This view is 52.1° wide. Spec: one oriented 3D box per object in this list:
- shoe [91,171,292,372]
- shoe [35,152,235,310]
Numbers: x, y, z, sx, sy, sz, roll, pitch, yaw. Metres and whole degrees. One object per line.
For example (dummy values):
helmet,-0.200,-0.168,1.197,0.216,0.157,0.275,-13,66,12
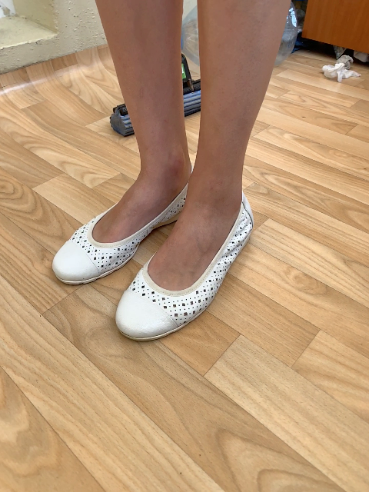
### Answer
shoe,0.024,0.011,0.459,0.090,0.070,0.271,26,49,26
shoe,-0.056,-0.037,0.538,0.100,0.070,0.270,33,52,31
